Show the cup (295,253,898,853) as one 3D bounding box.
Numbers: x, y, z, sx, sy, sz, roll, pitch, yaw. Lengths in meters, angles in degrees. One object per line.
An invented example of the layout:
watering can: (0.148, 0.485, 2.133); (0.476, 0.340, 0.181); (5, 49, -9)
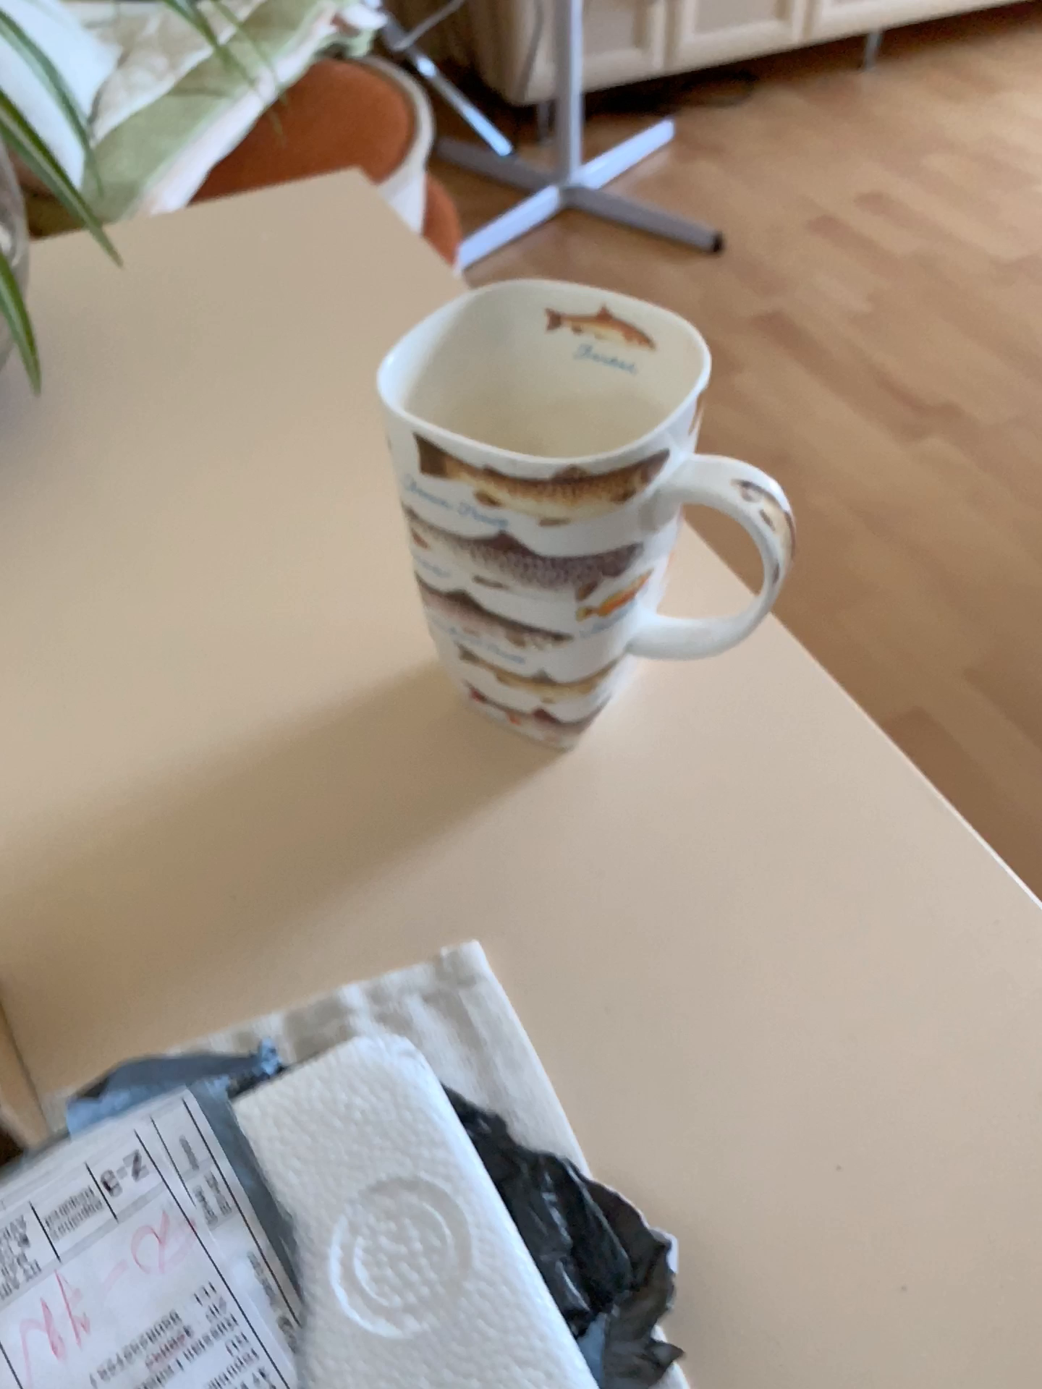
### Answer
cup: (0.023, -0.046, 0.343); (0.139, 0.122, 0.092); (22, 53, 20)
